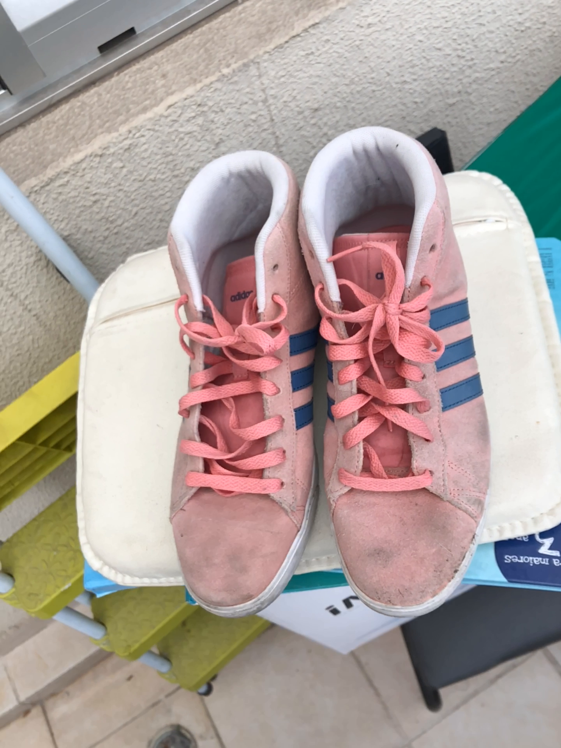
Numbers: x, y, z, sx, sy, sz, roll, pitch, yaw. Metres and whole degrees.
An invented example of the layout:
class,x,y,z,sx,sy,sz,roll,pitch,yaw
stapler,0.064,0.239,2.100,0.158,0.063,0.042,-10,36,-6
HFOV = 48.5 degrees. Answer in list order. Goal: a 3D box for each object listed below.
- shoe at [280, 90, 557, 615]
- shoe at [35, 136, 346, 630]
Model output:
class,x,y,z,sx,sy,sz,roll,pitch,yaw
shoe,0.063,-0.009,0.344,0.100,0.130,0.251,-5,62,11
shoe,-0.028,0.005,0.366,0.100,0.130,0.251,1,63,14
